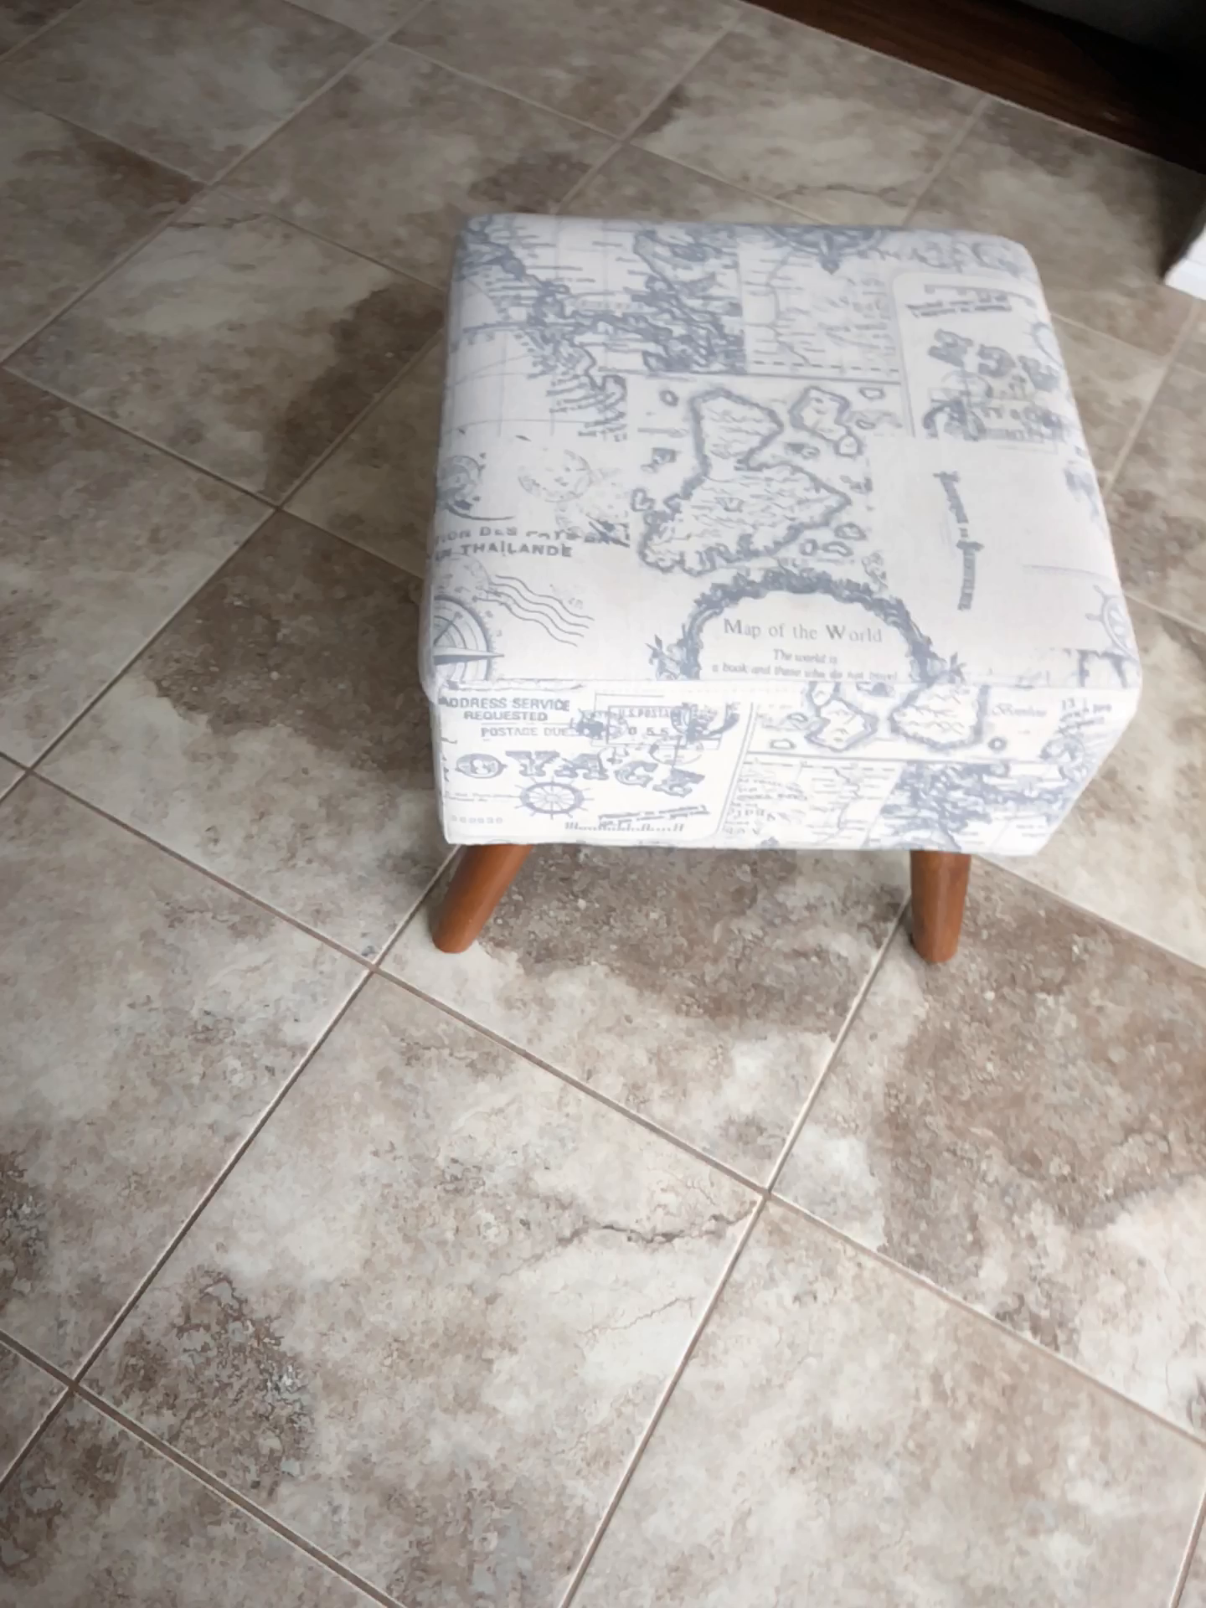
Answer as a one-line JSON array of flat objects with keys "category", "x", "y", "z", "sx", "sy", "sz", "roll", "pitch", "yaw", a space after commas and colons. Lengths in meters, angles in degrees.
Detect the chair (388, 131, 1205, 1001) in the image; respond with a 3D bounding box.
[{"category": "chair", "x": 0.095, "y": -0.152, "z": 0.908, "sx": 0.420, "sy": 0.319, "sz": 0.471, "roll": 2, "pitch": 59, "yaw": -4}]
